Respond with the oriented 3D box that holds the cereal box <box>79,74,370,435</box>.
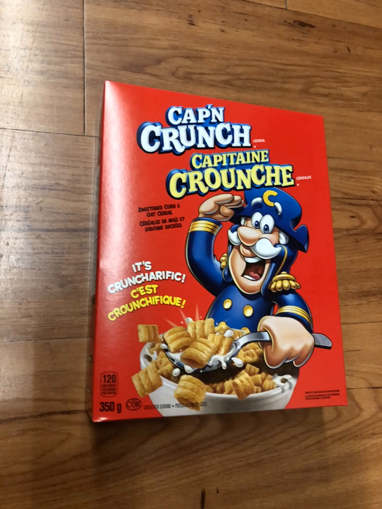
[{"bbox_3d":[0.026,0.000,0.356,0.220,0.060,0.260,3,77,-17],"label":"cereal box"}]
